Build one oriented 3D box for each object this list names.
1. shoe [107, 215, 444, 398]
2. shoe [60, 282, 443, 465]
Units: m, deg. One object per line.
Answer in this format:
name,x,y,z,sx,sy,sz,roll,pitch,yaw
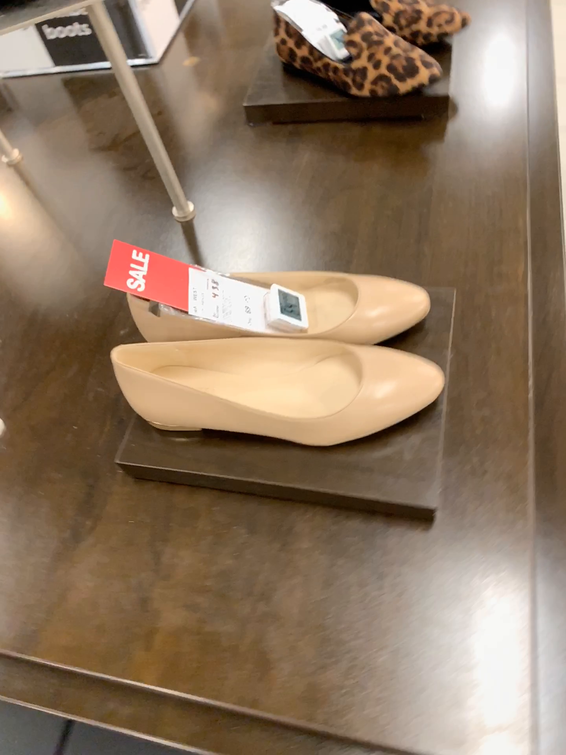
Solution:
shoe,-0.004,-0.055,0.482,0.250,0.080,0.090,-6,55,8
shoe,-0.018,0.002,0.428,0.250,0.080,0.090,-3,55,10
